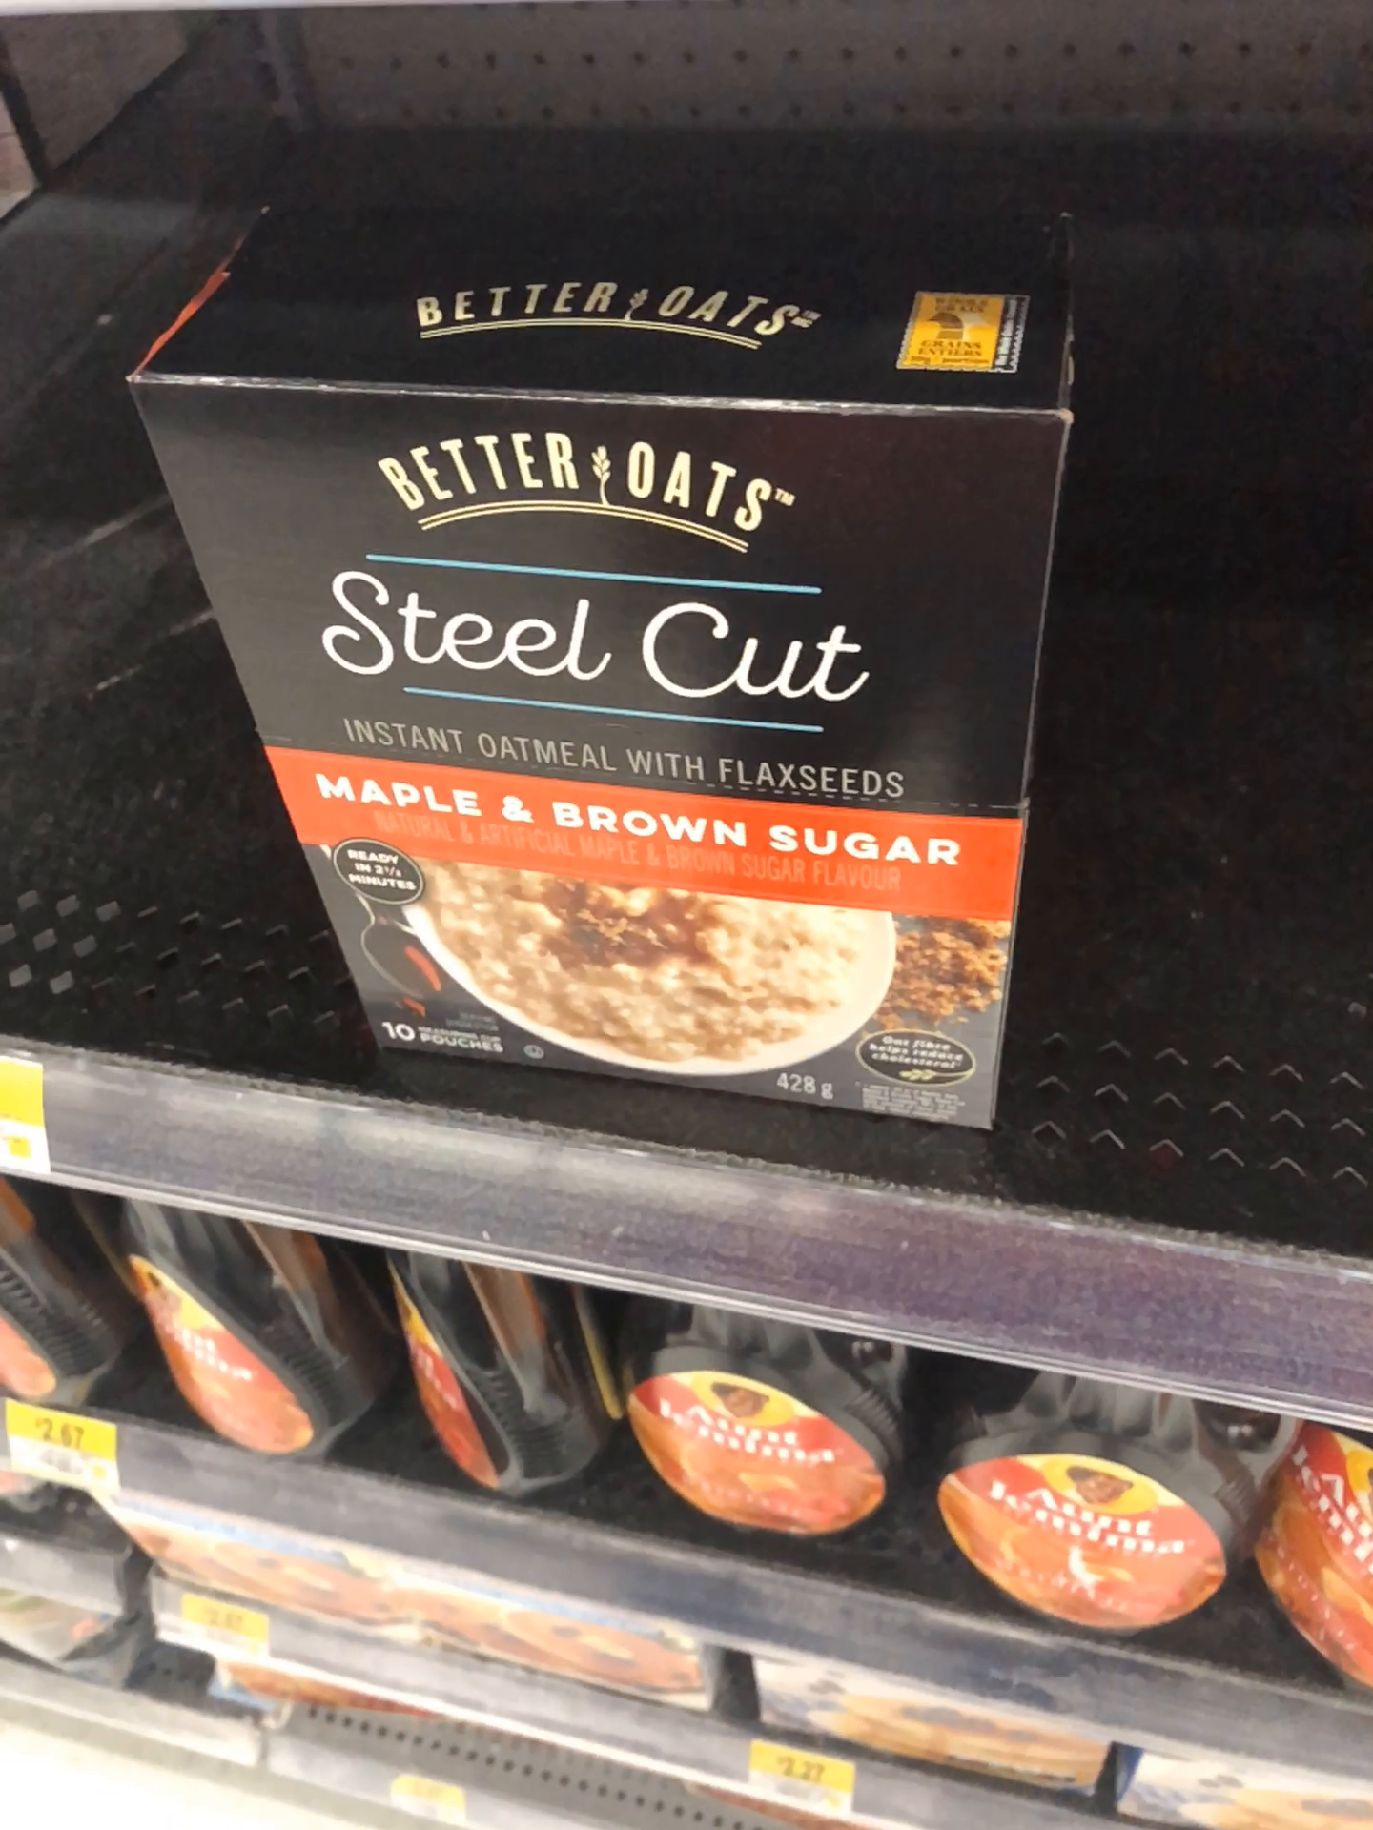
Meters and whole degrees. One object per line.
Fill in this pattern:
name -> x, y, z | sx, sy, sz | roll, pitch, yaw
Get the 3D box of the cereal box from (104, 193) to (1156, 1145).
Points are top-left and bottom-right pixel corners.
cereal box -> 0.001, -0.042, 0.316 | 0.160, 0.179, 0.070 | 6, 49, 12
